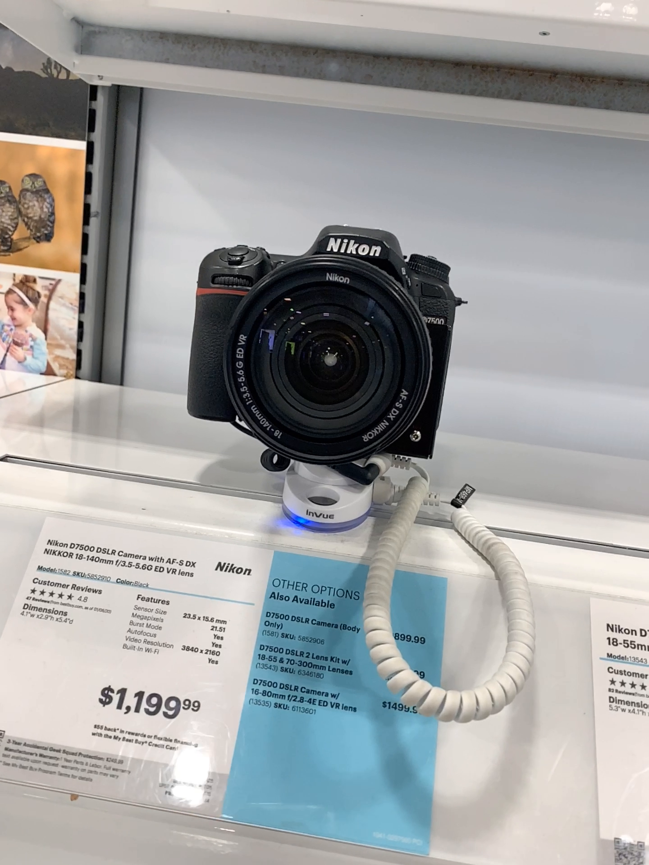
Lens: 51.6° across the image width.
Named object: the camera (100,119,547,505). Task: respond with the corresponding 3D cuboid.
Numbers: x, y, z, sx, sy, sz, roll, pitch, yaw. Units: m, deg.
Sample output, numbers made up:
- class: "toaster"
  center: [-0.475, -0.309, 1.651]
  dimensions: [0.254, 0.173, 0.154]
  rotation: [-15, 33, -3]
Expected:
- class: "camera"
  center: [0.001, -0.047, 0.299]
  dimensions: [0.130, 0.107, 0.172]
  rotation: [7, 7, 1]
